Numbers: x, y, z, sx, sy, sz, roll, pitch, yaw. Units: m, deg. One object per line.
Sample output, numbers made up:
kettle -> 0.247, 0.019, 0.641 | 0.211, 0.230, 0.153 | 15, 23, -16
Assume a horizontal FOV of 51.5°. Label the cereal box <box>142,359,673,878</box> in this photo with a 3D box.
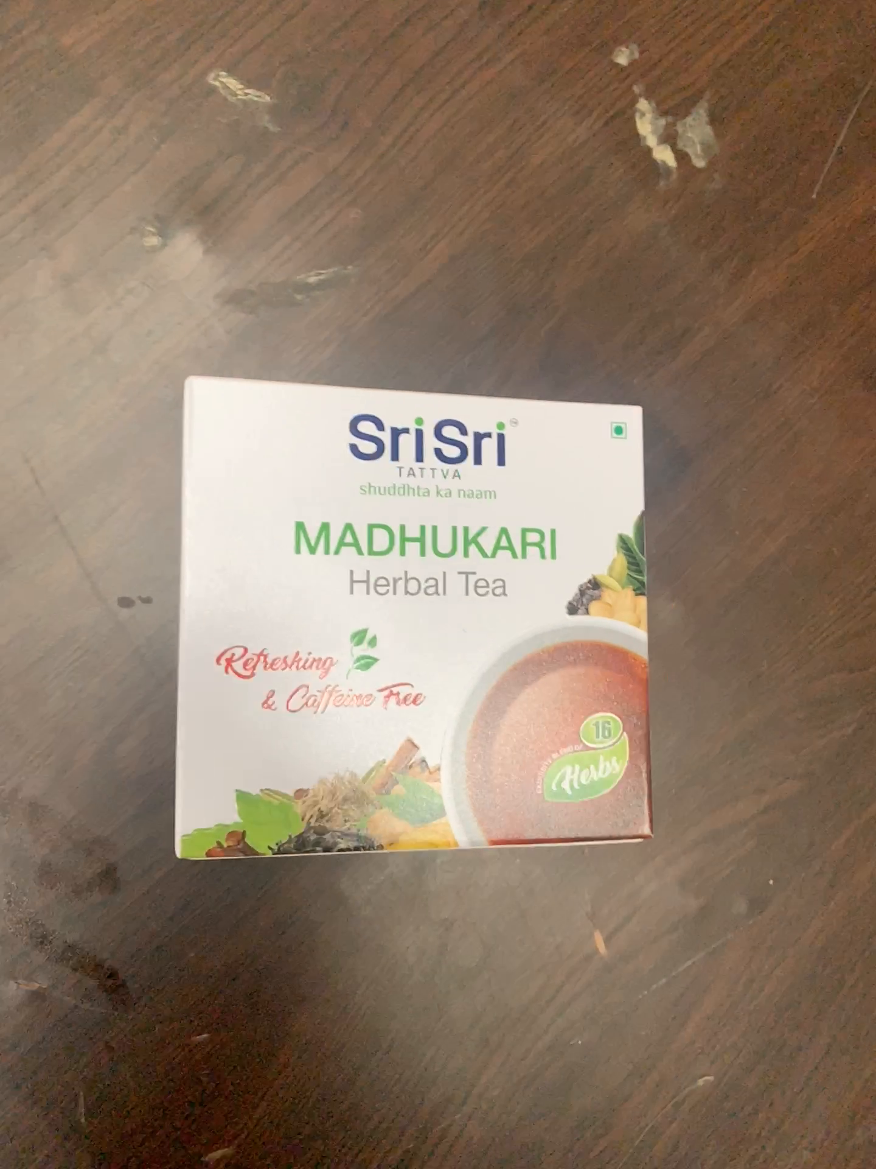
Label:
cereal box -> -0.007, 0.009, 0.243 | 0.130, 0.040, 0.120 | 1, 88, -11
